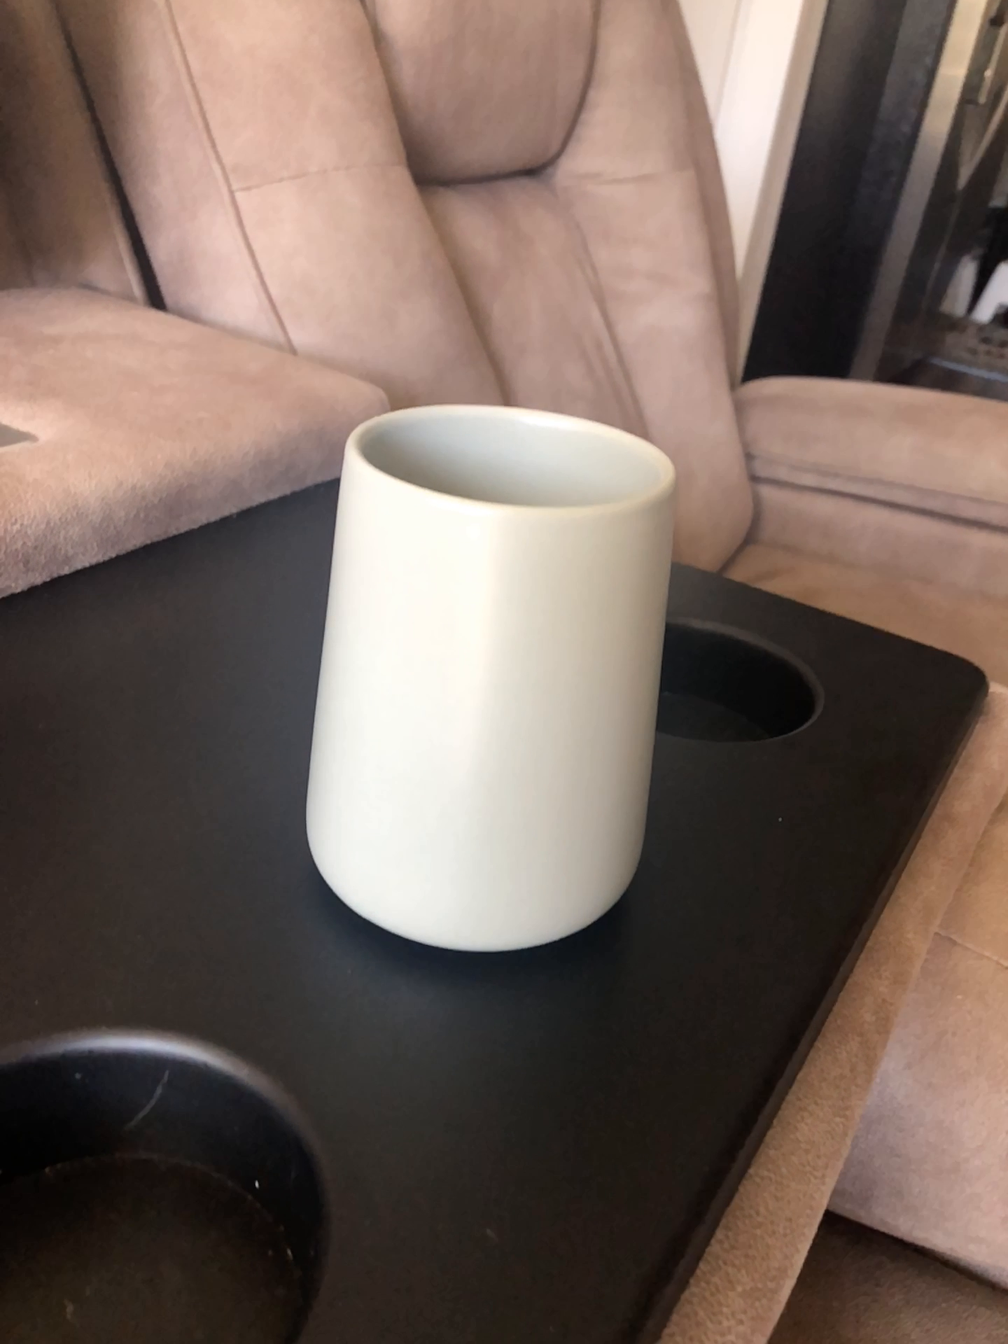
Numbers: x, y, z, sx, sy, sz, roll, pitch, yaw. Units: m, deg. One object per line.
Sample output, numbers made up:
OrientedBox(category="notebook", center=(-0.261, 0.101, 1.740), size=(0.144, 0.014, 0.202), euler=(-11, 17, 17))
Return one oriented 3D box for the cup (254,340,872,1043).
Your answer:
OrientedBox(category="cup", center=(0.016, -0.007, 0.296), size=(0.086, 0.121, 0.137), euler=(25, 34, 27))
